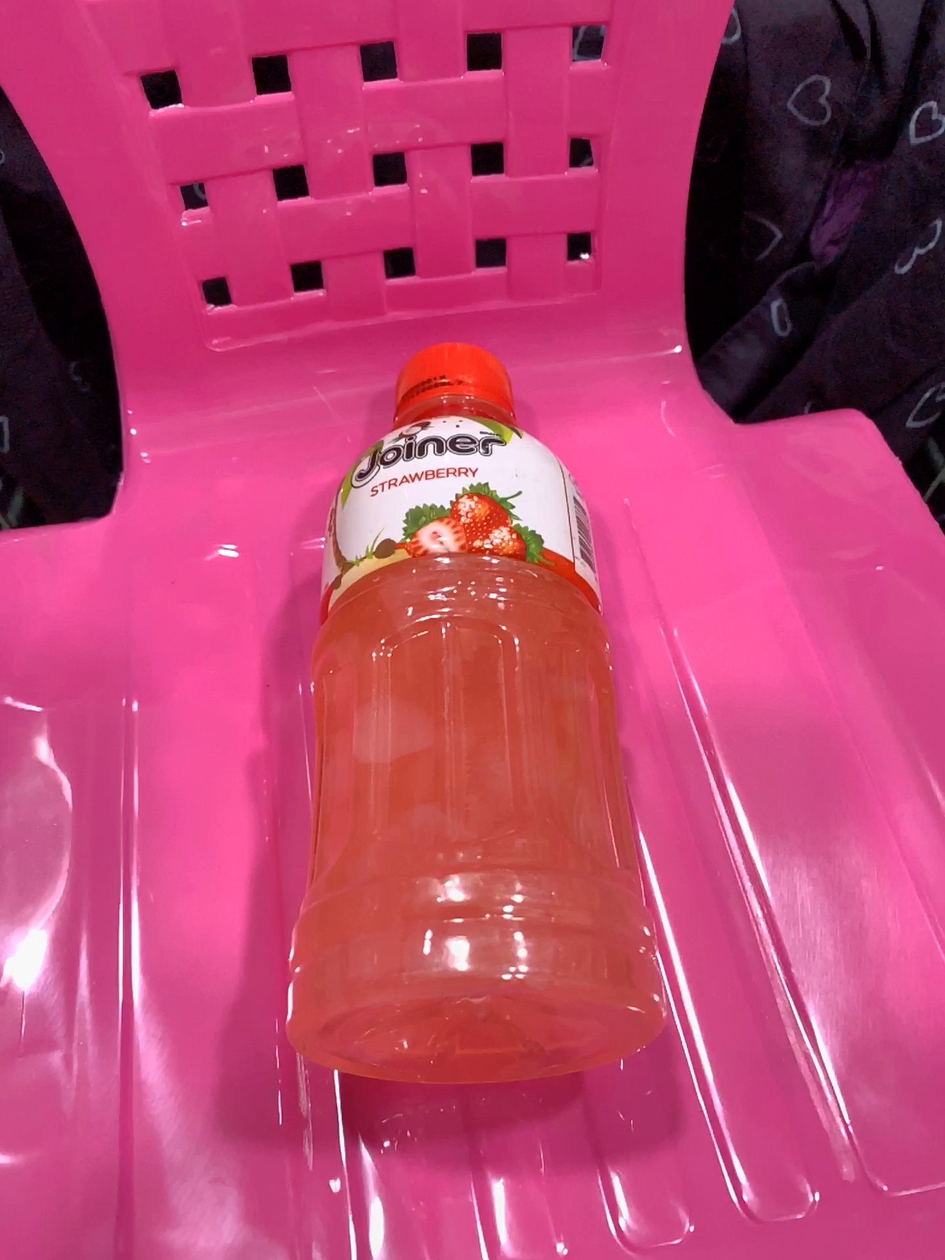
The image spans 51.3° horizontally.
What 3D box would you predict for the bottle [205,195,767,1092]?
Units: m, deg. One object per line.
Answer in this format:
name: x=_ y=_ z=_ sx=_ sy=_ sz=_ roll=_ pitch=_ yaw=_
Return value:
bottle: x=-0.002 y=-0.003 z=0.193 sx=0.070 sy=0.070 sz=0.160 roll=-2 pitch=59 yaw=-2
